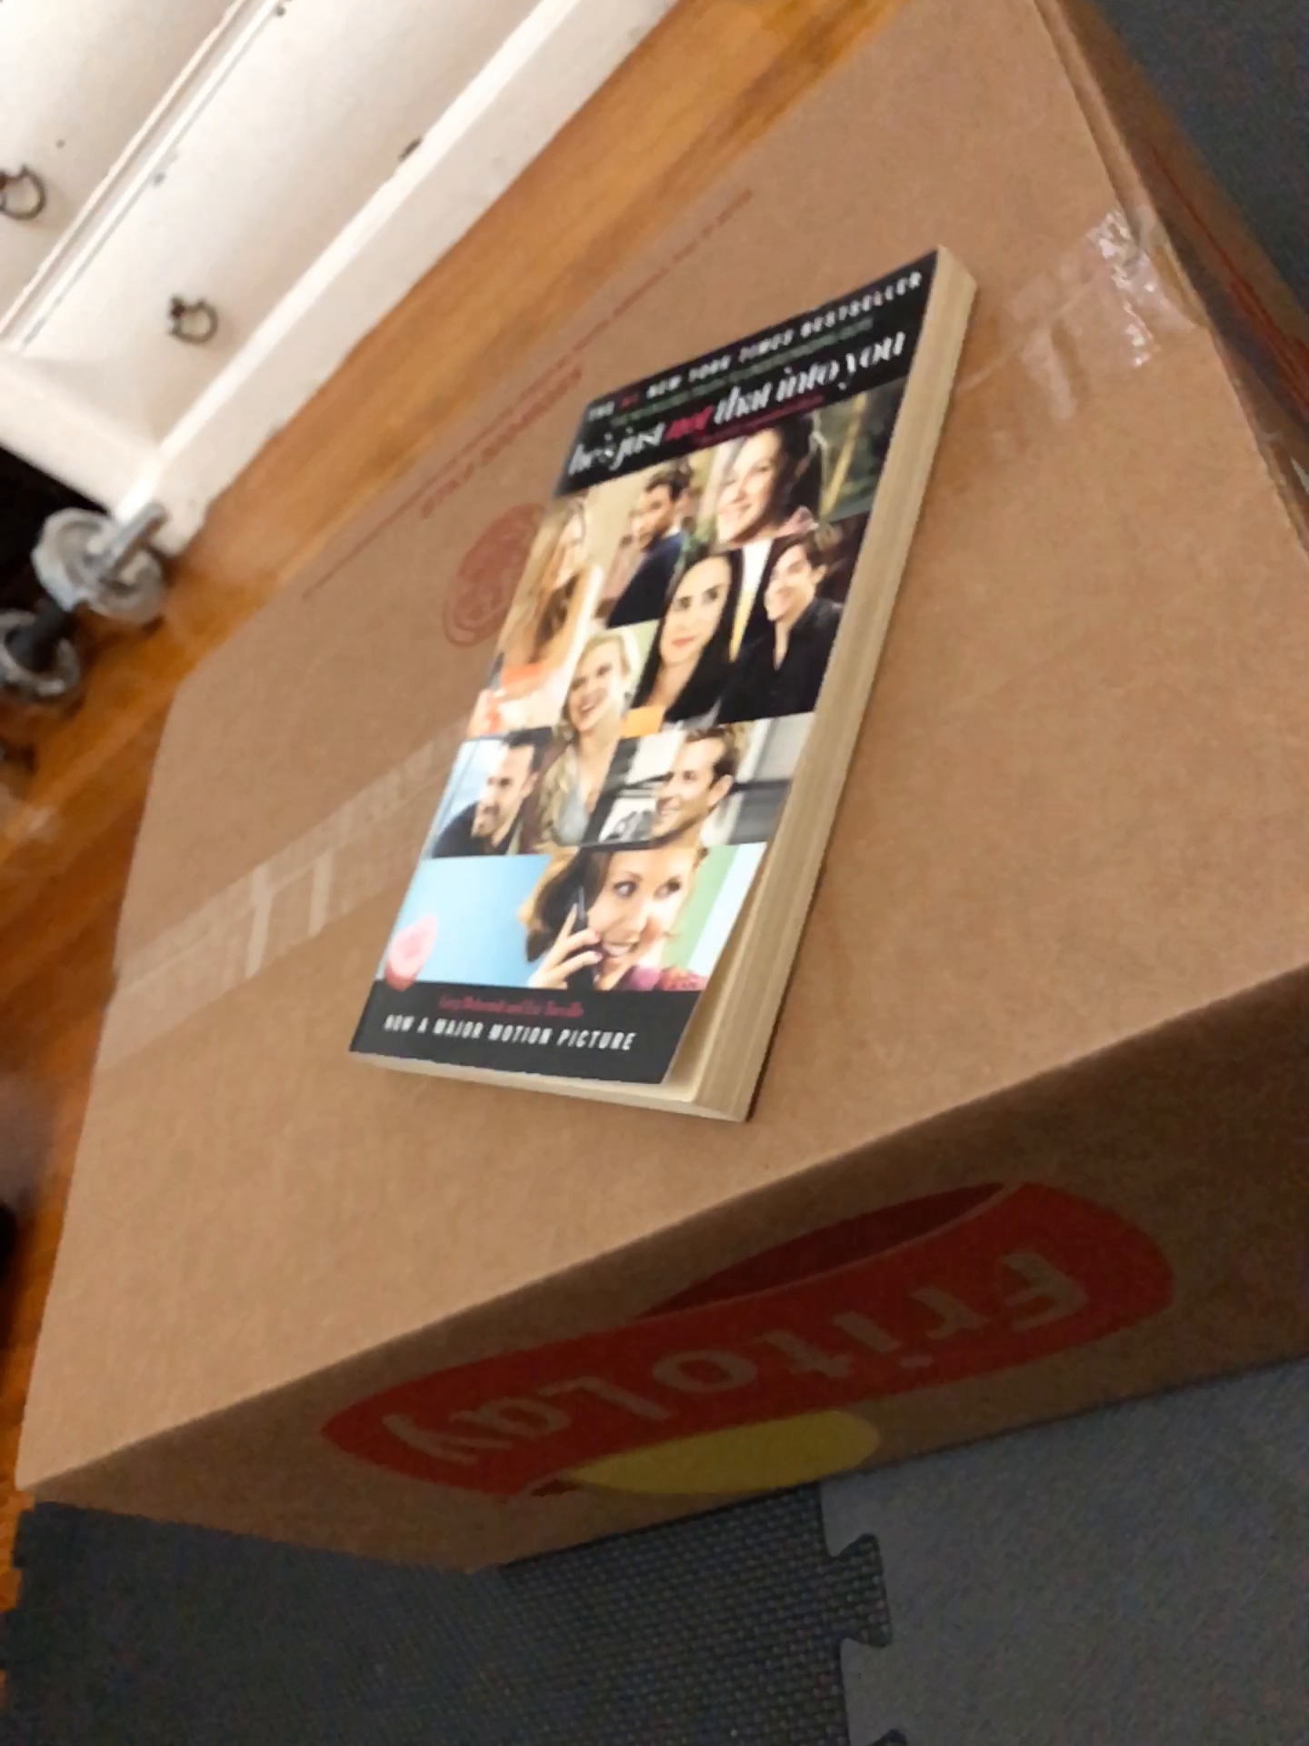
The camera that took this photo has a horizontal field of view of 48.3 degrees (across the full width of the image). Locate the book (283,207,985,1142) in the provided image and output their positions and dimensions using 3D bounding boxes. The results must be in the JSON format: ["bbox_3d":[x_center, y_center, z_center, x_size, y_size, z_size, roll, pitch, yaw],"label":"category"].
[{"bbox_3d":[-0.011,-0.045,0.363,0.160,0.020,0.210,-4,64,48],"label":"book"}]
